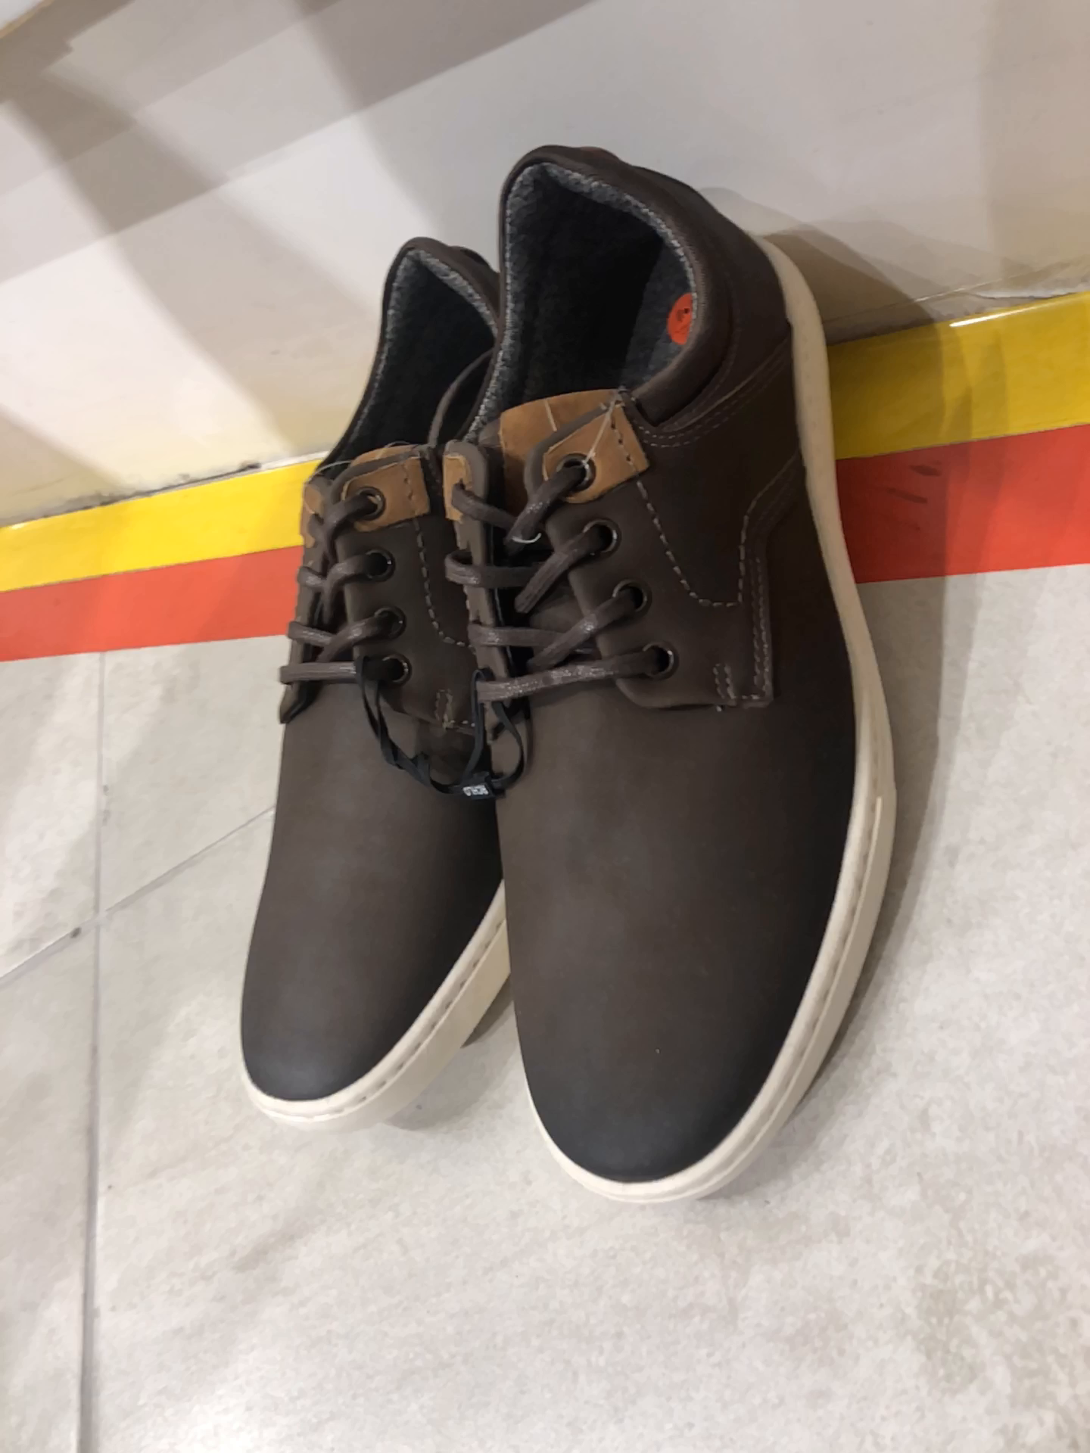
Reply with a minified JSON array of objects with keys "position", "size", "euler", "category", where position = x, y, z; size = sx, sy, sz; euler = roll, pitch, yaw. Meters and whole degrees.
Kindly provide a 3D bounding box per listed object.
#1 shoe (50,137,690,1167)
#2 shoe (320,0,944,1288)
[{"position":[-0.043,-0.018,0.367],"size":[0.100,0.099,0.270],"euler":[-1,72,37],"category":"shoe"},{"position":[0.029,-0.021,0.301],"size":[0.100,0.099,0.271],"euler":[-8,71,34],"category":"shoe"}]
